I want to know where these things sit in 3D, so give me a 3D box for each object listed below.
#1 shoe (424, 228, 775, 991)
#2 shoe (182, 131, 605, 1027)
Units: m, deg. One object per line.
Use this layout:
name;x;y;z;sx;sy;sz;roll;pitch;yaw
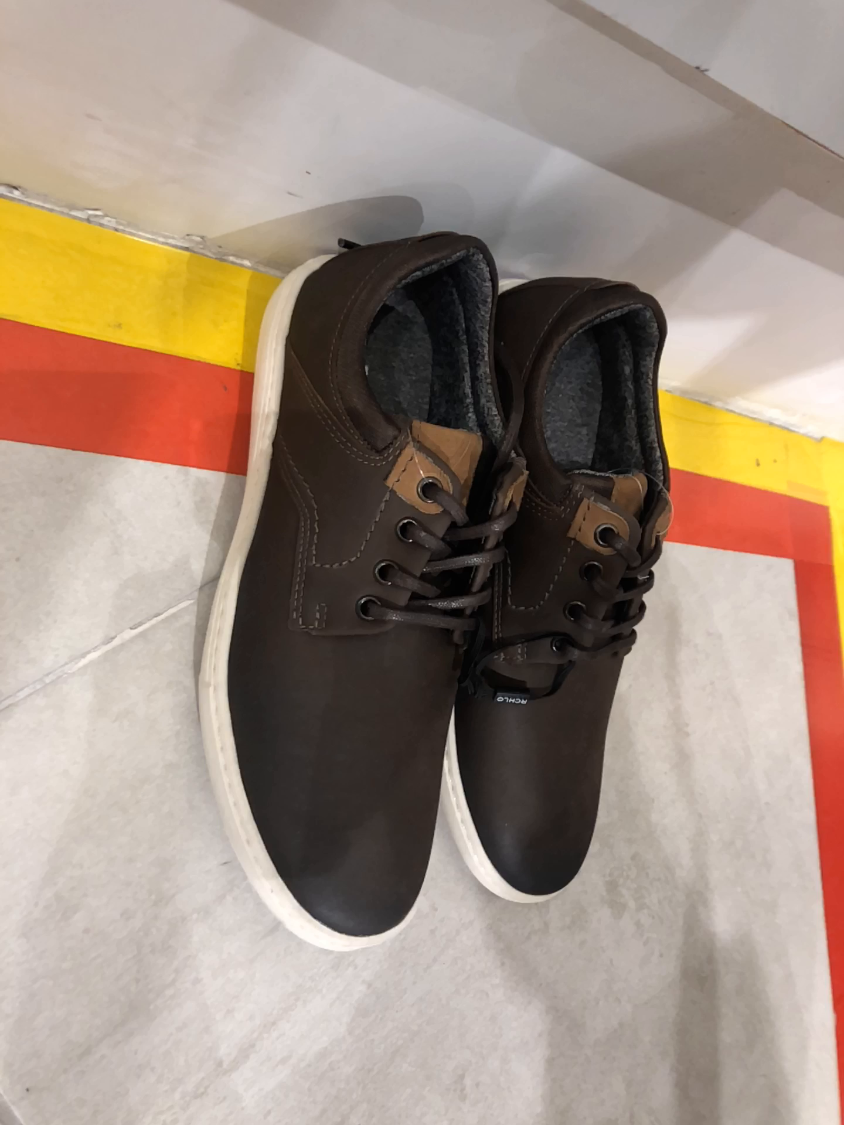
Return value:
shoe;0.073;0.016;0.399;0.101;0.099;0.270;-1;93;-36
shoe;-0.012;0.006;0.350;0.101;0.099;0.270;7;86;-35
